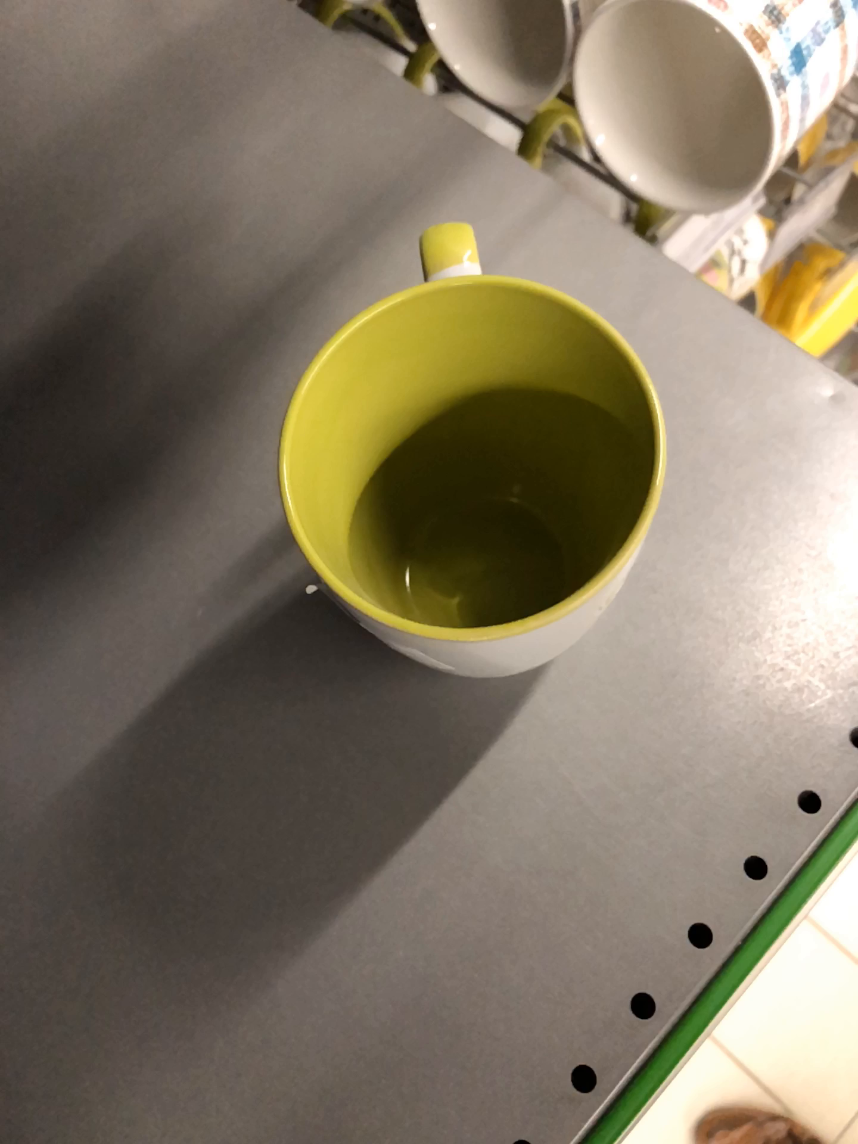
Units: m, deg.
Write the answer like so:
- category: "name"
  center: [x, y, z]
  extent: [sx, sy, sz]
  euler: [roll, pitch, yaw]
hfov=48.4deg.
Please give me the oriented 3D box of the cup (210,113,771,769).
- category: "cup"
  center: [0.011, -0.027, 0.255]
  extent: [0.094, 0.096, 0.126]
  euler: [-15, 71, 0]
